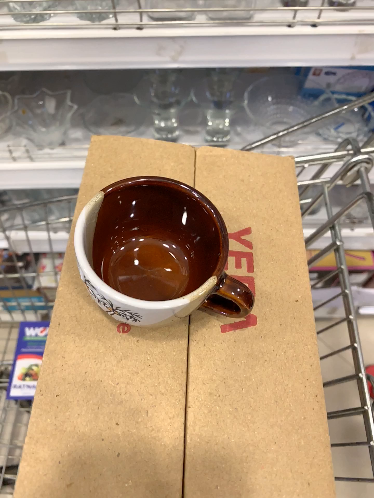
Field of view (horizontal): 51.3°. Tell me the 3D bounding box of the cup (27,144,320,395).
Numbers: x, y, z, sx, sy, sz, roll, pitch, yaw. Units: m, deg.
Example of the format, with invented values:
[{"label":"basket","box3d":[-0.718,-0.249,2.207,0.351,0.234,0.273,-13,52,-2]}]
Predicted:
[{"label":"cup","box3d":[-0.006,0.012,0.181,0.100,0.060,0.060,27,64,8]}]
